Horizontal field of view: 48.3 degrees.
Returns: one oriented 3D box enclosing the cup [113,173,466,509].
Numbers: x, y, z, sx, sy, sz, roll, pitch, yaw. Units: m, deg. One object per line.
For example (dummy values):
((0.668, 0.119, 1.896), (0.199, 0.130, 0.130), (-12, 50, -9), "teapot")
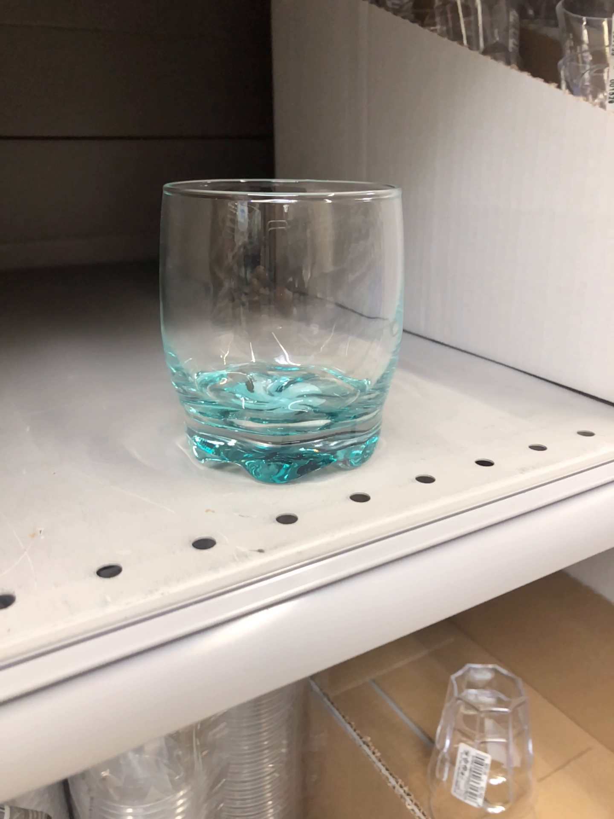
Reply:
((-0.010, -0.030, 0.217), (0.082, 0.082, 0.074), (-8, 22, -23), "cup")
